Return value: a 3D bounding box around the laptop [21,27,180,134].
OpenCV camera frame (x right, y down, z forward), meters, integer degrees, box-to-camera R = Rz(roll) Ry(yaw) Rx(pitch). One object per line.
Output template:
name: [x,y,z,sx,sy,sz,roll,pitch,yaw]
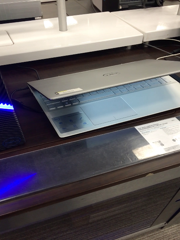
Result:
laptop: [0.070,-0.116,0.600,0.399,0.109,0.223,-16,48,-13]
